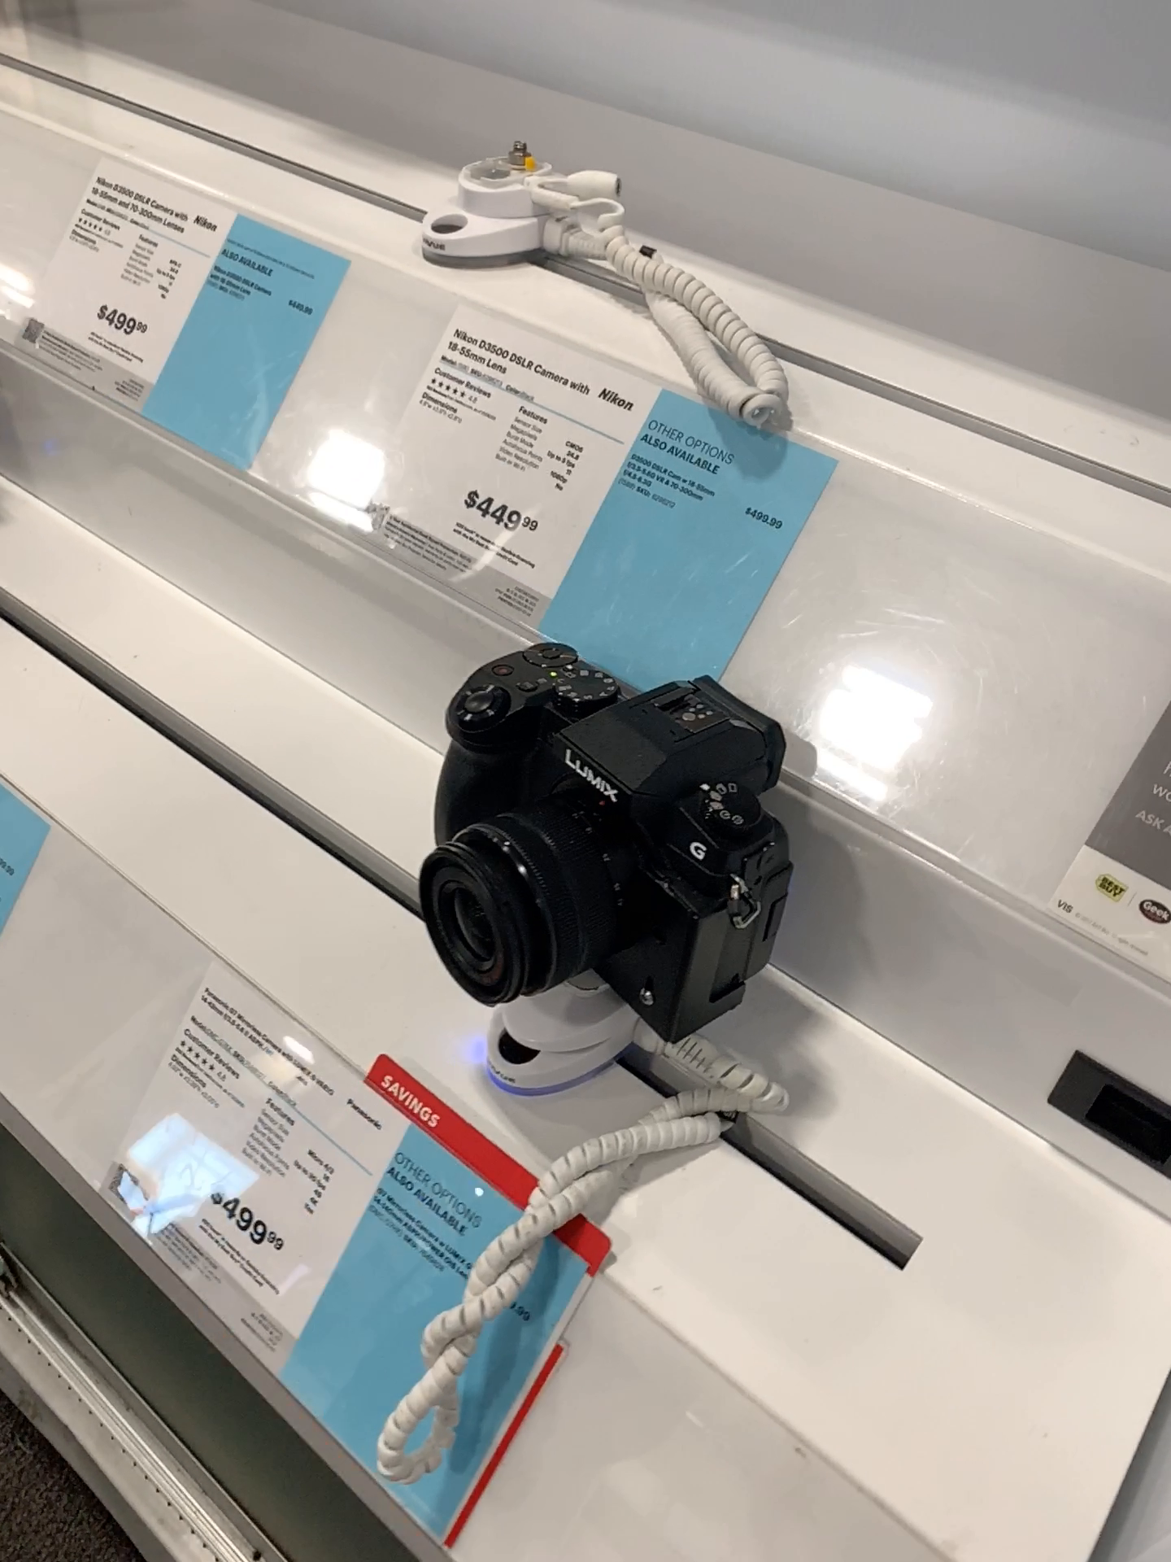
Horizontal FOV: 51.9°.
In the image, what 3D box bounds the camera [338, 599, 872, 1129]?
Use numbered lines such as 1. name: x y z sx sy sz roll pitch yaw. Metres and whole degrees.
1. camera: 0.002 0.019 0.394 0.114 0.080 0.119 -27 51 -31
